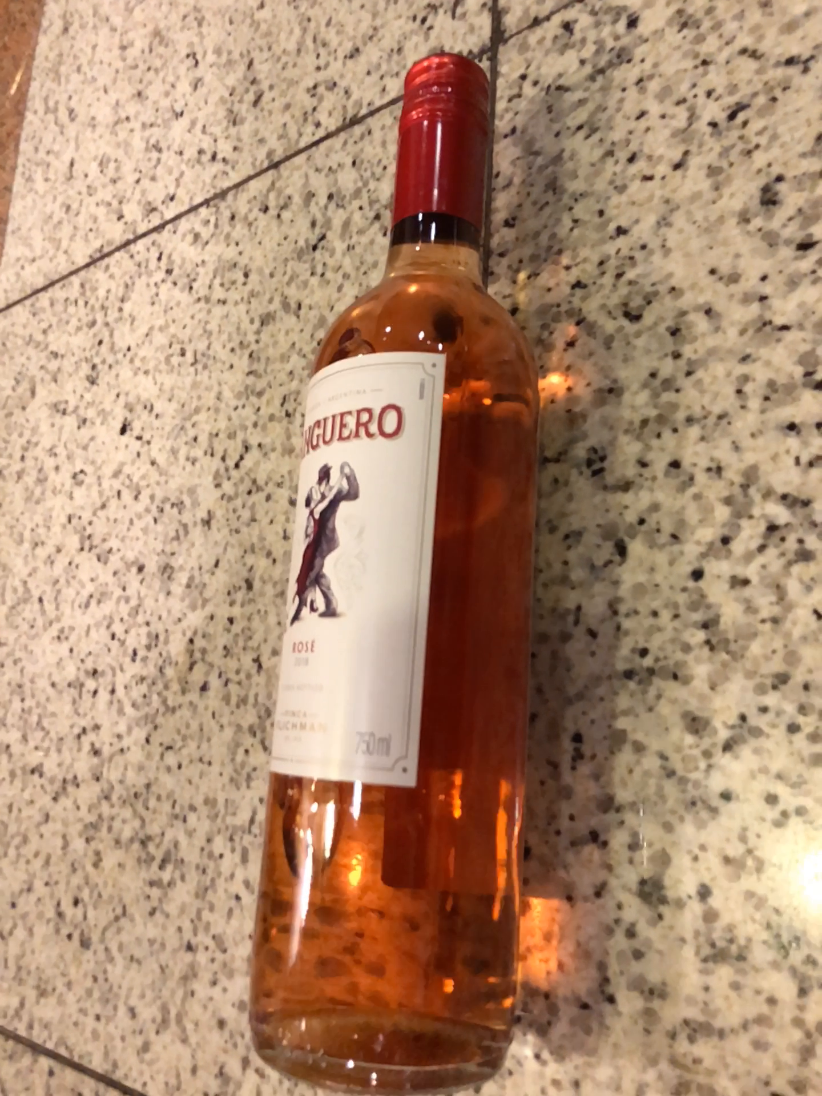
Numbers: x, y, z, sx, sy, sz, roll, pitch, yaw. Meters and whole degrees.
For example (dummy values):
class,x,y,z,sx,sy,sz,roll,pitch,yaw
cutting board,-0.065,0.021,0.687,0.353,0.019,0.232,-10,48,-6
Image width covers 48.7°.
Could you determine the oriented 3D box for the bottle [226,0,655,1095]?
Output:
class,x,y,z,sx,sy,sz,roll,pitch,yaw
bottle,0.015,-0.034,0.269,0.090,0.060,0.320,-7,74,40
